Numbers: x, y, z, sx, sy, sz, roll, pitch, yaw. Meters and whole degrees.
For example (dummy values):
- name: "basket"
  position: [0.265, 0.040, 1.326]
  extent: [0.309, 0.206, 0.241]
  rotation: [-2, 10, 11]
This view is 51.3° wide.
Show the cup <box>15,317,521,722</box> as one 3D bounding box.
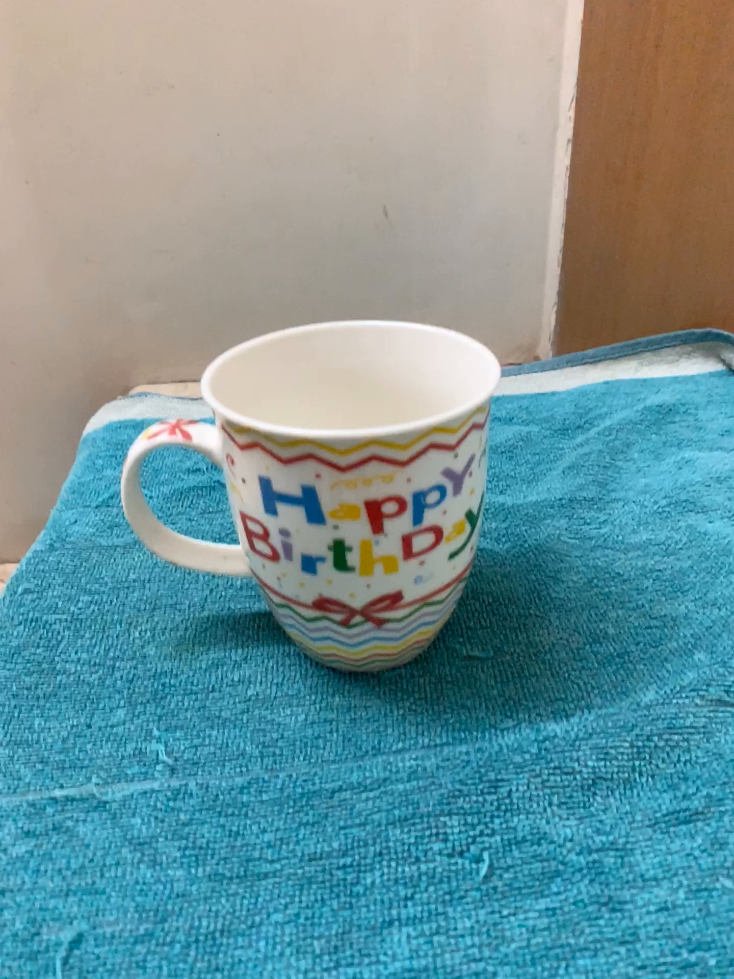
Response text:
- name: "cup"
  position: [-0.025, 0.006, 0.260]
  extent: [0.130, 0.099, 0.091]
  rotation: [-2, 30, 0]
